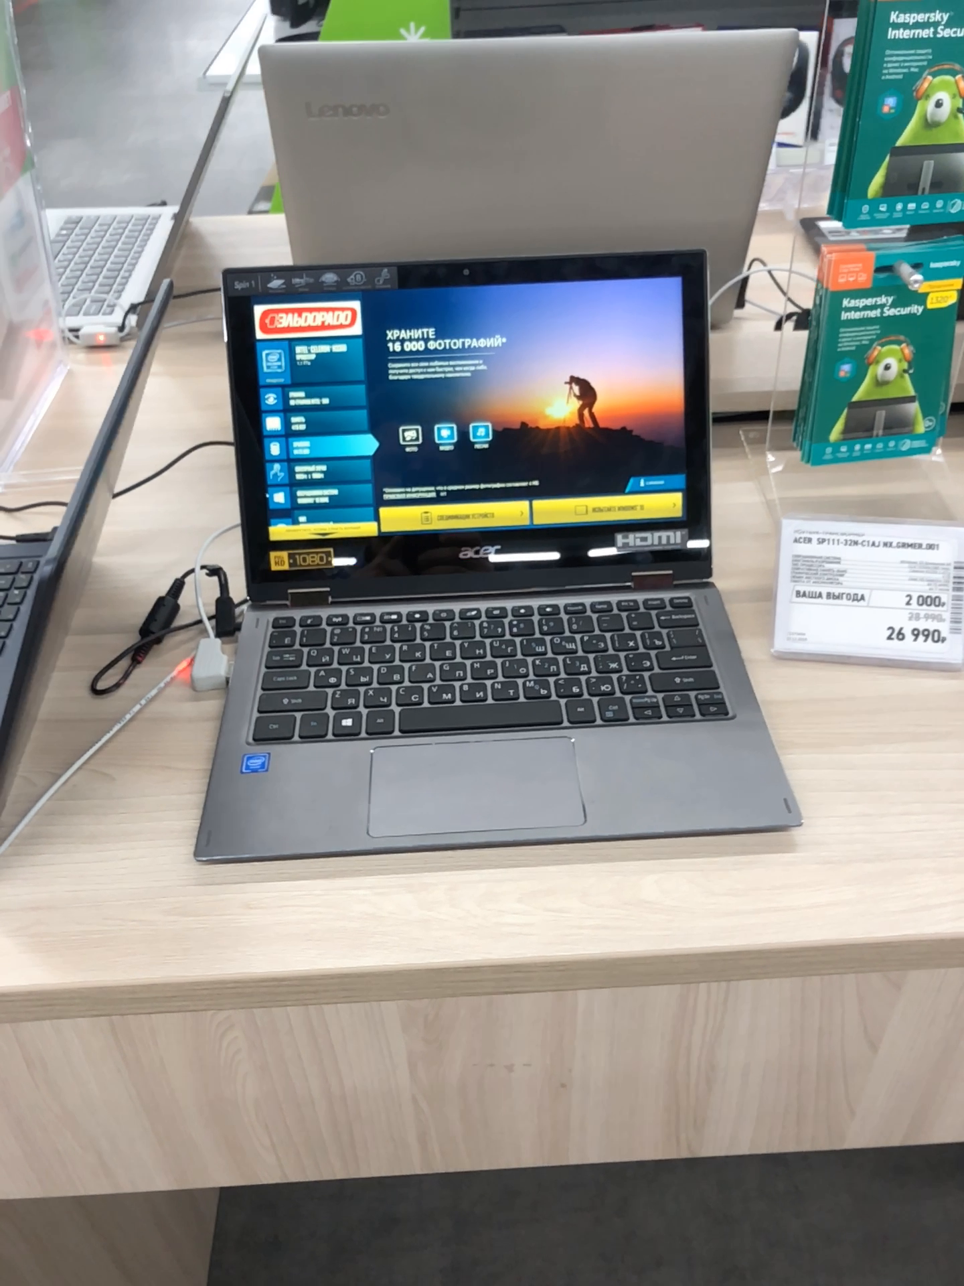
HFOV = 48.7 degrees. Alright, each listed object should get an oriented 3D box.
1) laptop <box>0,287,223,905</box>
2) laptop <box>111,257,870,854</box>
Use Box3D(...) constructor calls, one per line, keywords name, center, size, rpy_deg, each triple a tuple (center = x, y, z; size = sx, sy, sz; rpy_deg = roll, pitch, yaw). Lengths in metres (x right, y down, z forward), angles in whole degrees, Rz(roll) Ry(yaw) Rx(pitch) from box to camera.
Box3D(name="laptop", center=(-0.310, -0.041, 0.545), size=(0.286, 0.174, 0.276), rpy_deg=(-3, 39, -2))
Box3D(name="laptop", center=(-0.001, -0.067, 0.574), size=(0.287, 0.168, 0.304), rpy_deg=(-3, 39, -1))
